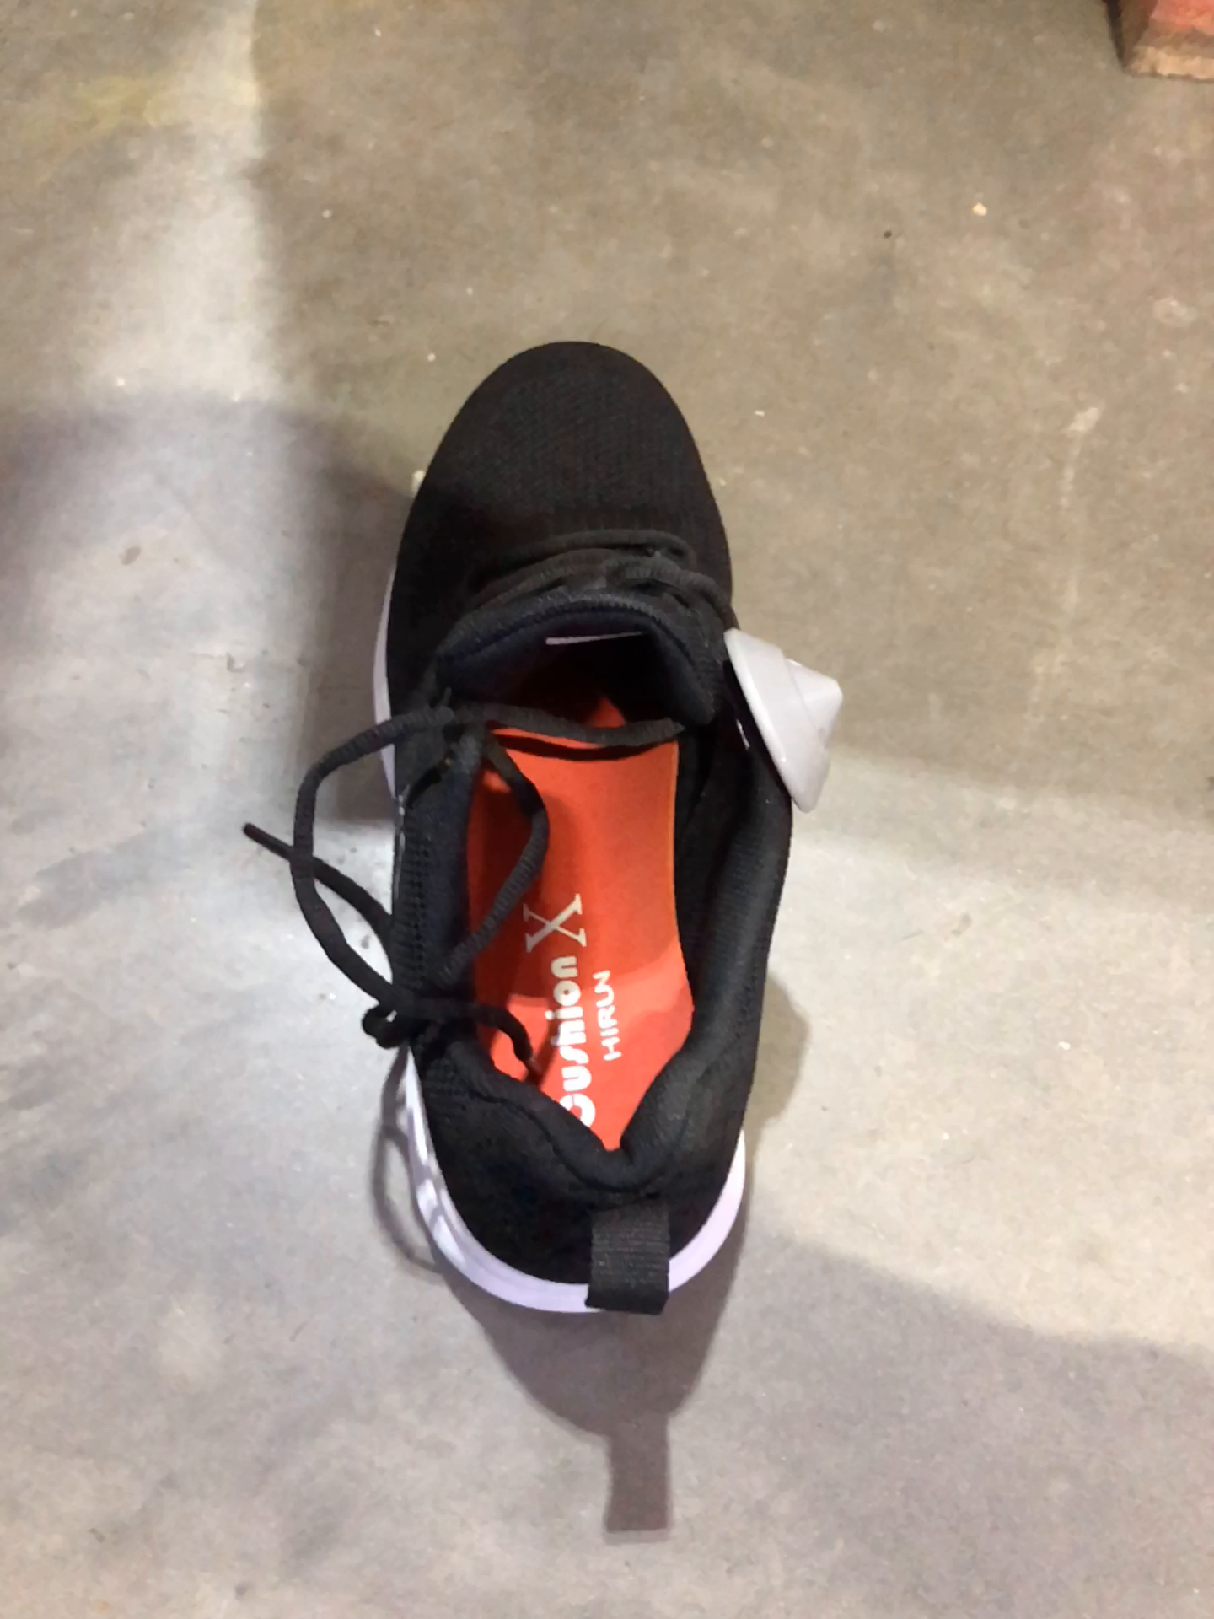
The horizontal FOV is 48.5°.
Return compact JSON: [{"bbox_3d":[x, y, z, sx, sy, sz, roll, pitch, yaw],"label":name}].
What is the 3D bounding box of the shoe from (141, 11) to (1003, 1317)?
[{"bbox_3d":[-0.008,-0.035,0.315,0.130,0.120,0.281,0,66,-2],"label":"shoe"}]
